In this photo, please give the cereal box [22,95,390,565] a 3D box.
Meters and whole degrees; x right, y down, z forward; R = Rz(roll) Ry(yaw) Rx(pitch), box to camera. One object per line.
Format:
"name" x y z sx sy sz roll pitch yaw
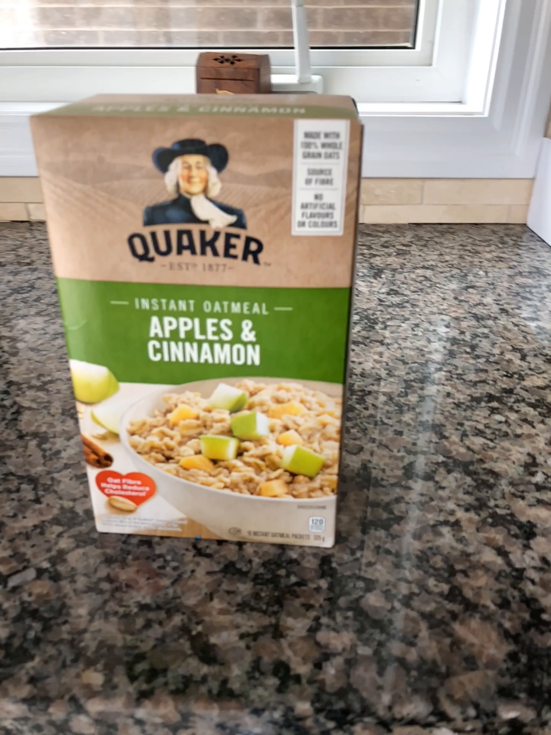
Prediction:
"cereal box" -0.022 -0.016 0.302 0.130 0.209 0.090 3 29 4
